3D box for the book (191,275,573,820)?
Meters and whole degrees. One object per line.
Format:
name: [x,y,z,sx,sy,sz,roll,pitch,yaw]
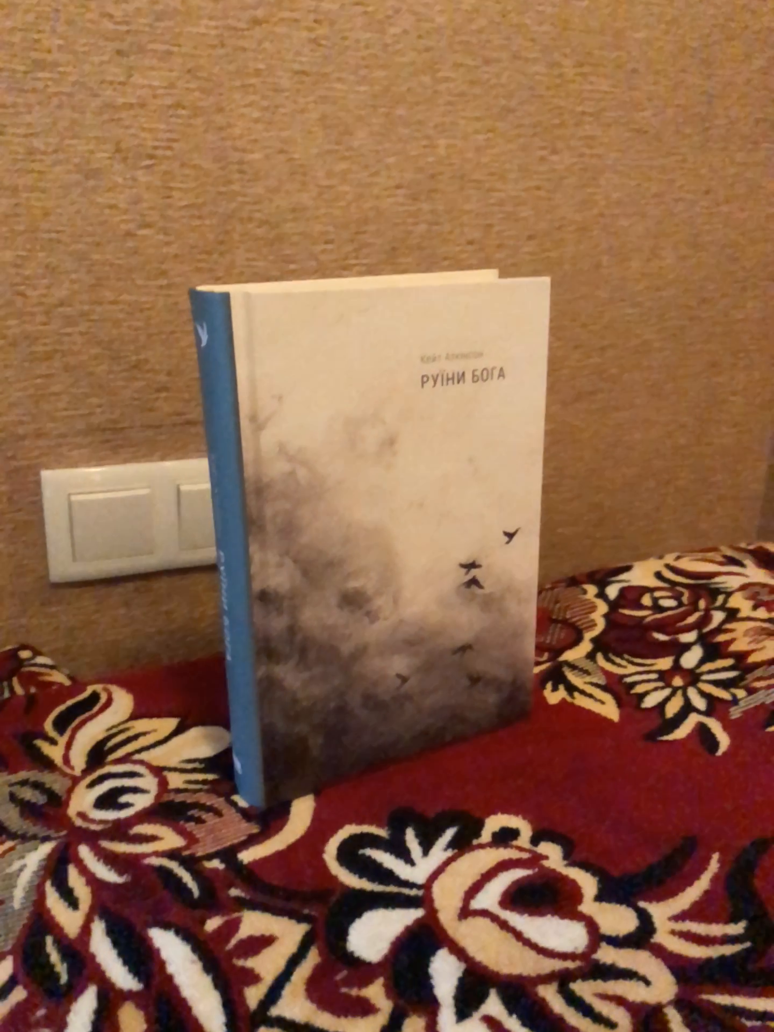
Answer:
book: [0.002,0.007,0.368,0.150,0.210,0.040,-9,19,-27]
